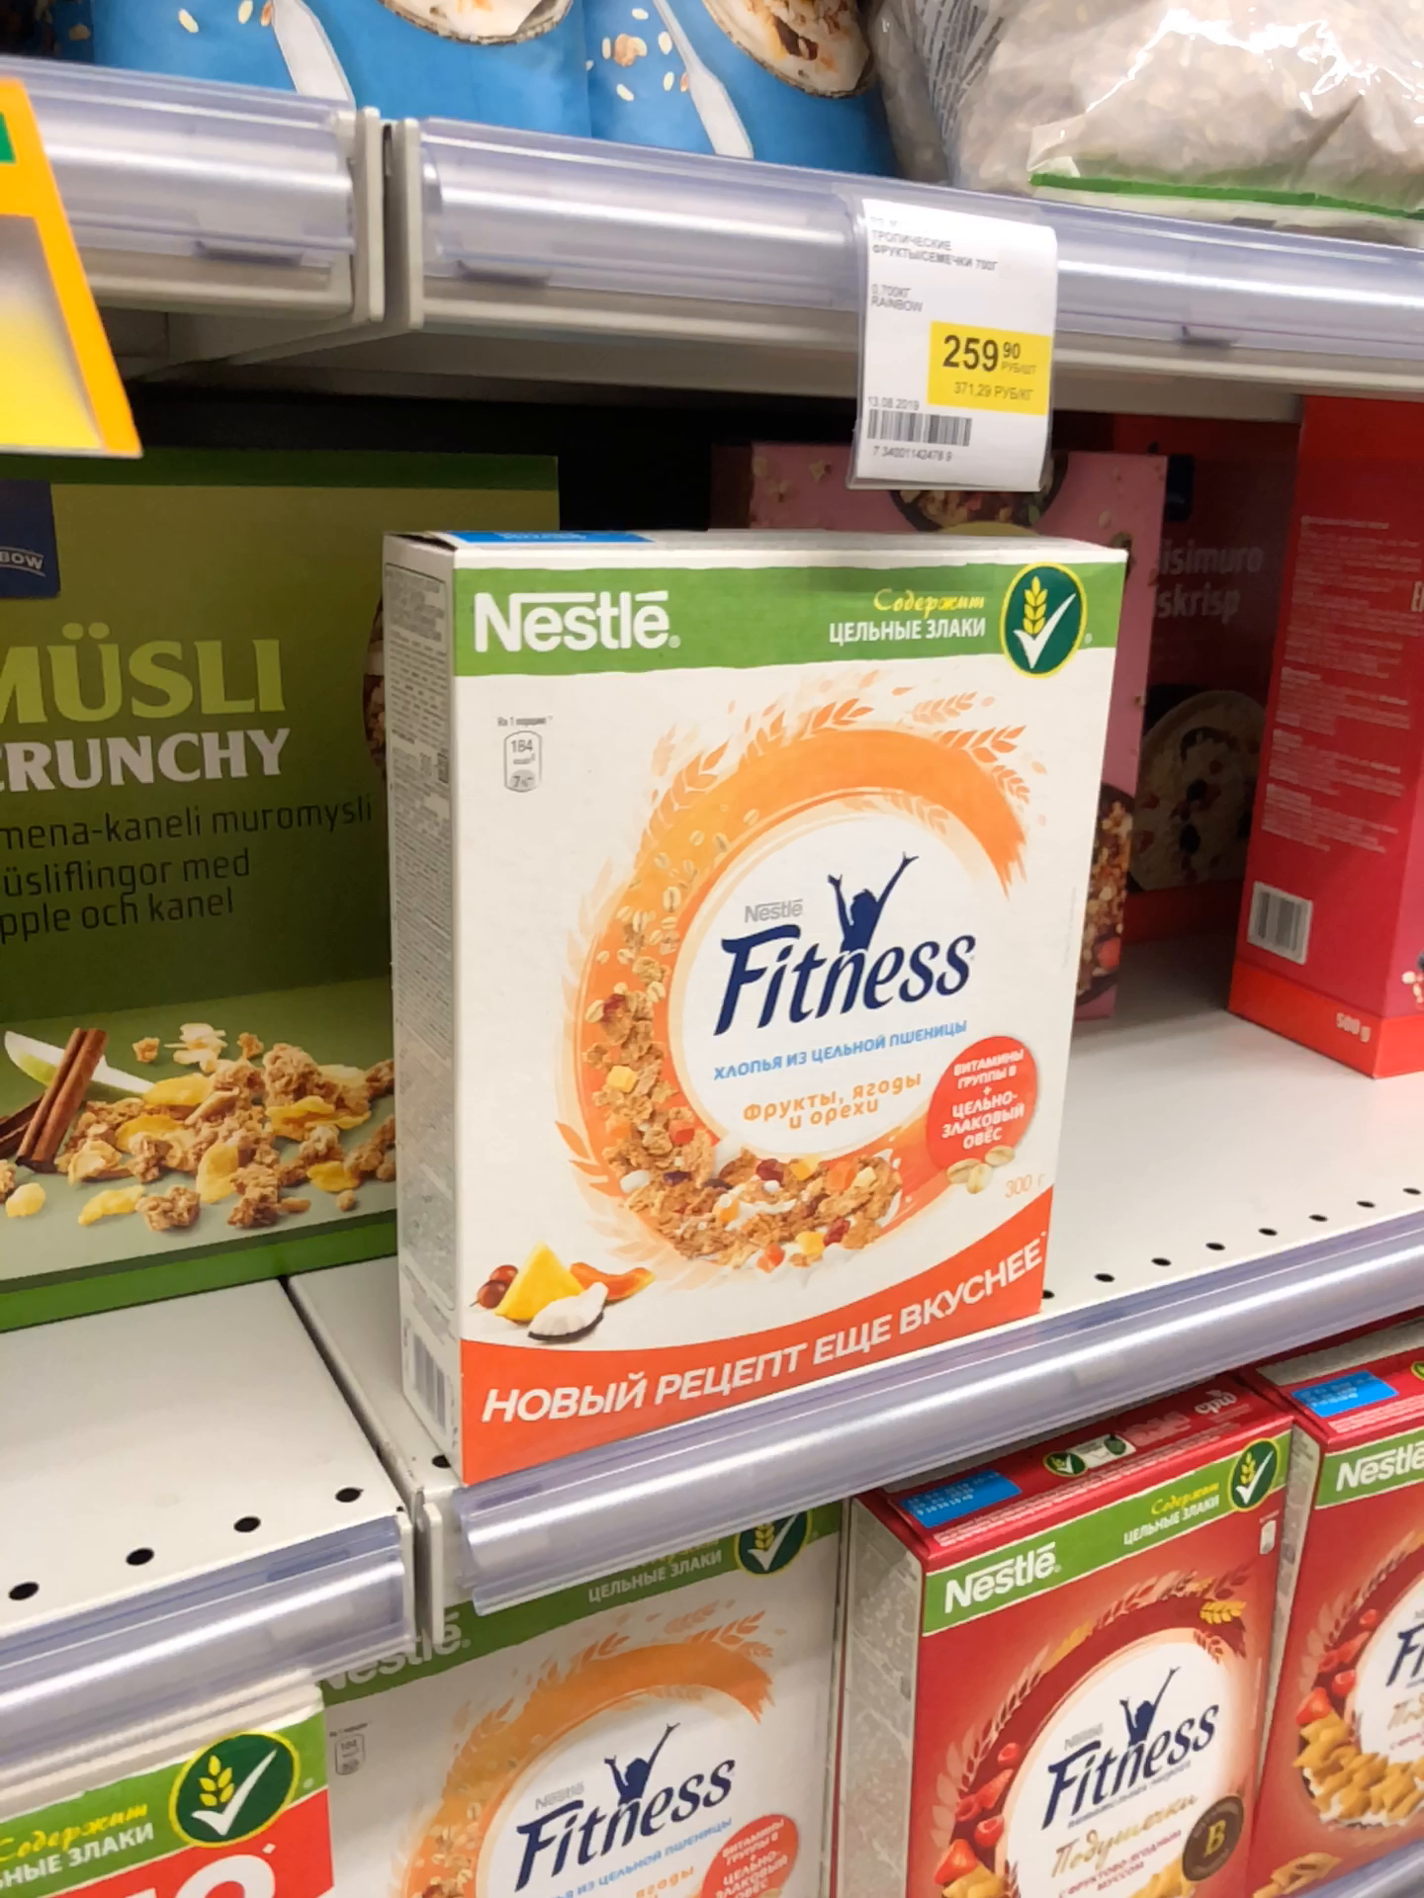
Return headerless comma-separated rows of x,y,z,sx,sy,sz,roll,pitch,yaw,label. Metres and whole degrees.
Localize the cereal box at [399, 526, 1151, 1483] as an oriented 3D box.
0.017,0.006,0.428,0.190,0.229,0.050,-8,20,-29,cereal box
